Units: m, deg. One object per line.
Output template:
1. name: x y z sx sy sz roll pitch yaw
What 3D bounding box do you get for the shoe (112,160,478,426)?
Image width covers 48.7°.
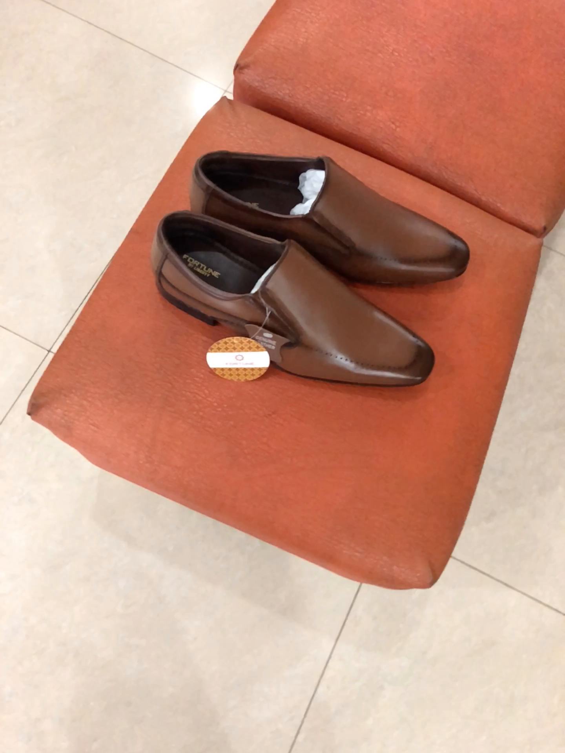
1. shoe: 0.007 -0.069 0.583 0.293 0.128 0.099 23 72 1

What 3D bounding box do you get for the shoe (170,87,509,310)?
1. shoe: 0.051 -0.167 0.609 0.295 0.108 0.101 13 71 -2
